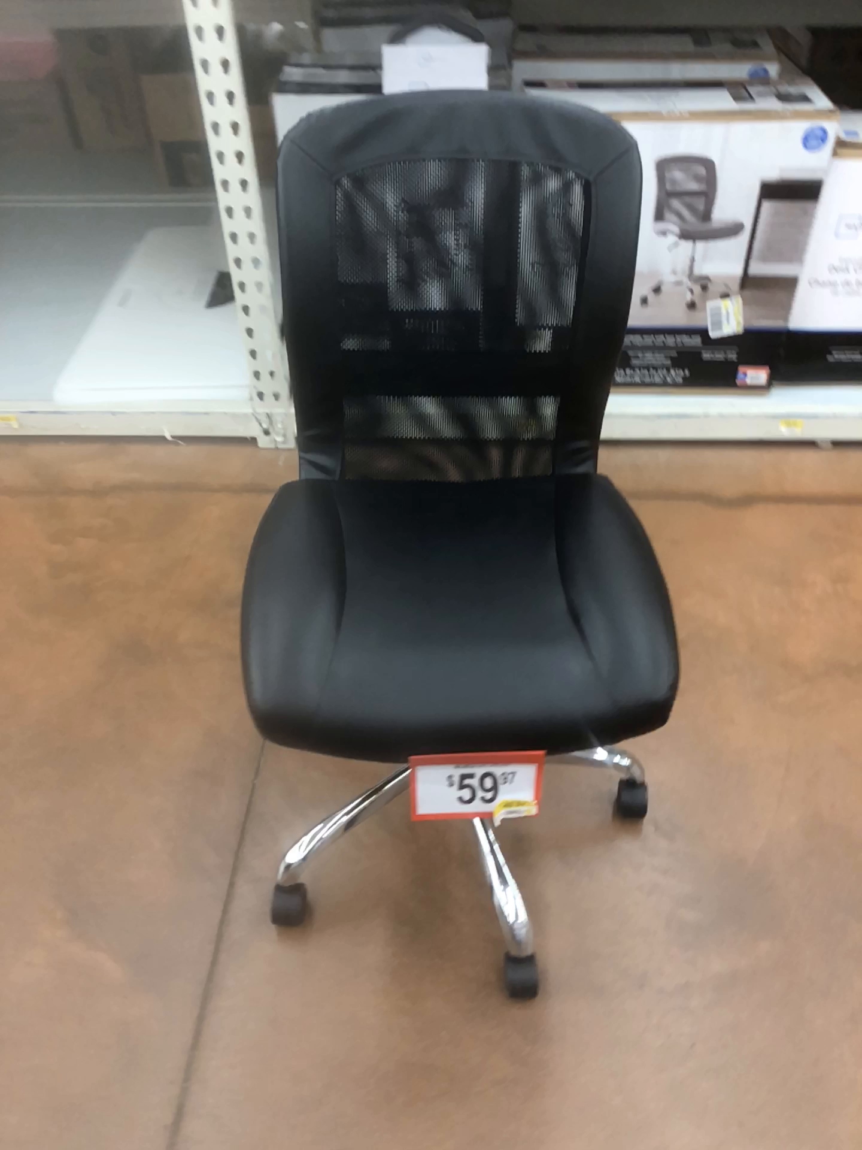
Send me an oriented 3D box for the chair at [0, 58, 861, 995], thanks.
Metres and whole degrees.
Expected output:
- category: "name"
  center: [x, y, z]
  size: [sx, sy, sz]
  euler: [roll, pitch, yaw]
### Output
- category: "chair"
  center: [0.016, -0.039, 1.072]
  size: [0.680, 0.817, 0.652]
  euler: [-1, 41, 2]
